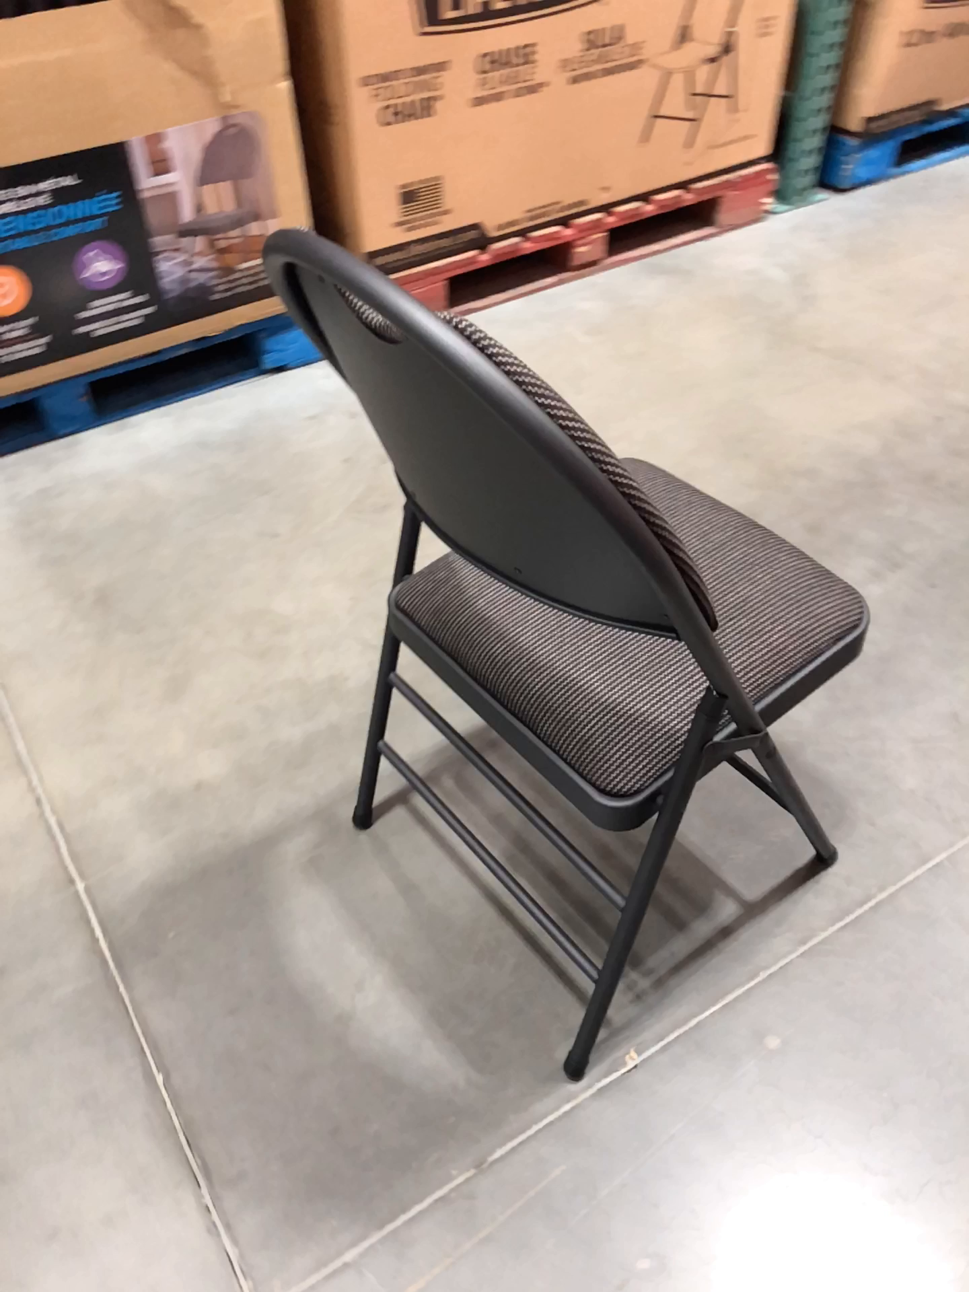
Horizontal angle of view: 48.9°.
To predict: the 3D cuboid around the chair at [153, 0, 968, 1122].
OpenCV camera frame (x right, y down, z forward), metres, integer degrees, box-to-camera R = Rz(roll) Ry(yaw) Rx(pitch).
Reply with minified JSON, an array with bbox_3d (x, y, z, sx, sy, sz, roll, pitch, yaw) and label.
[{"bbox_3d":[0.133,-0.079,1.083,0.561,0.867,0.521,-28,50,-25],"label":"chair"}]
